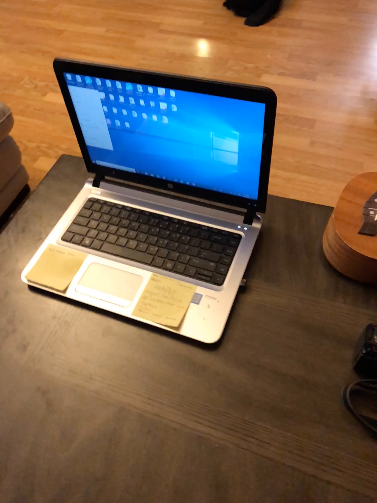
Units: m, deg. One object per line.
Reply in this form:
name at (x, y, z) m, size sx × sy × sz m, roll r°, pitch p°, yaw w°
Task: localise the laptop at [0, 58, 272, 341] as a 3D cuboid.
laptop at (-0.078, -0.078, 0.580) m, size 0.317 × 0.217 × 0.247 m, roll 15°, pitch 58°, yaw 16°
